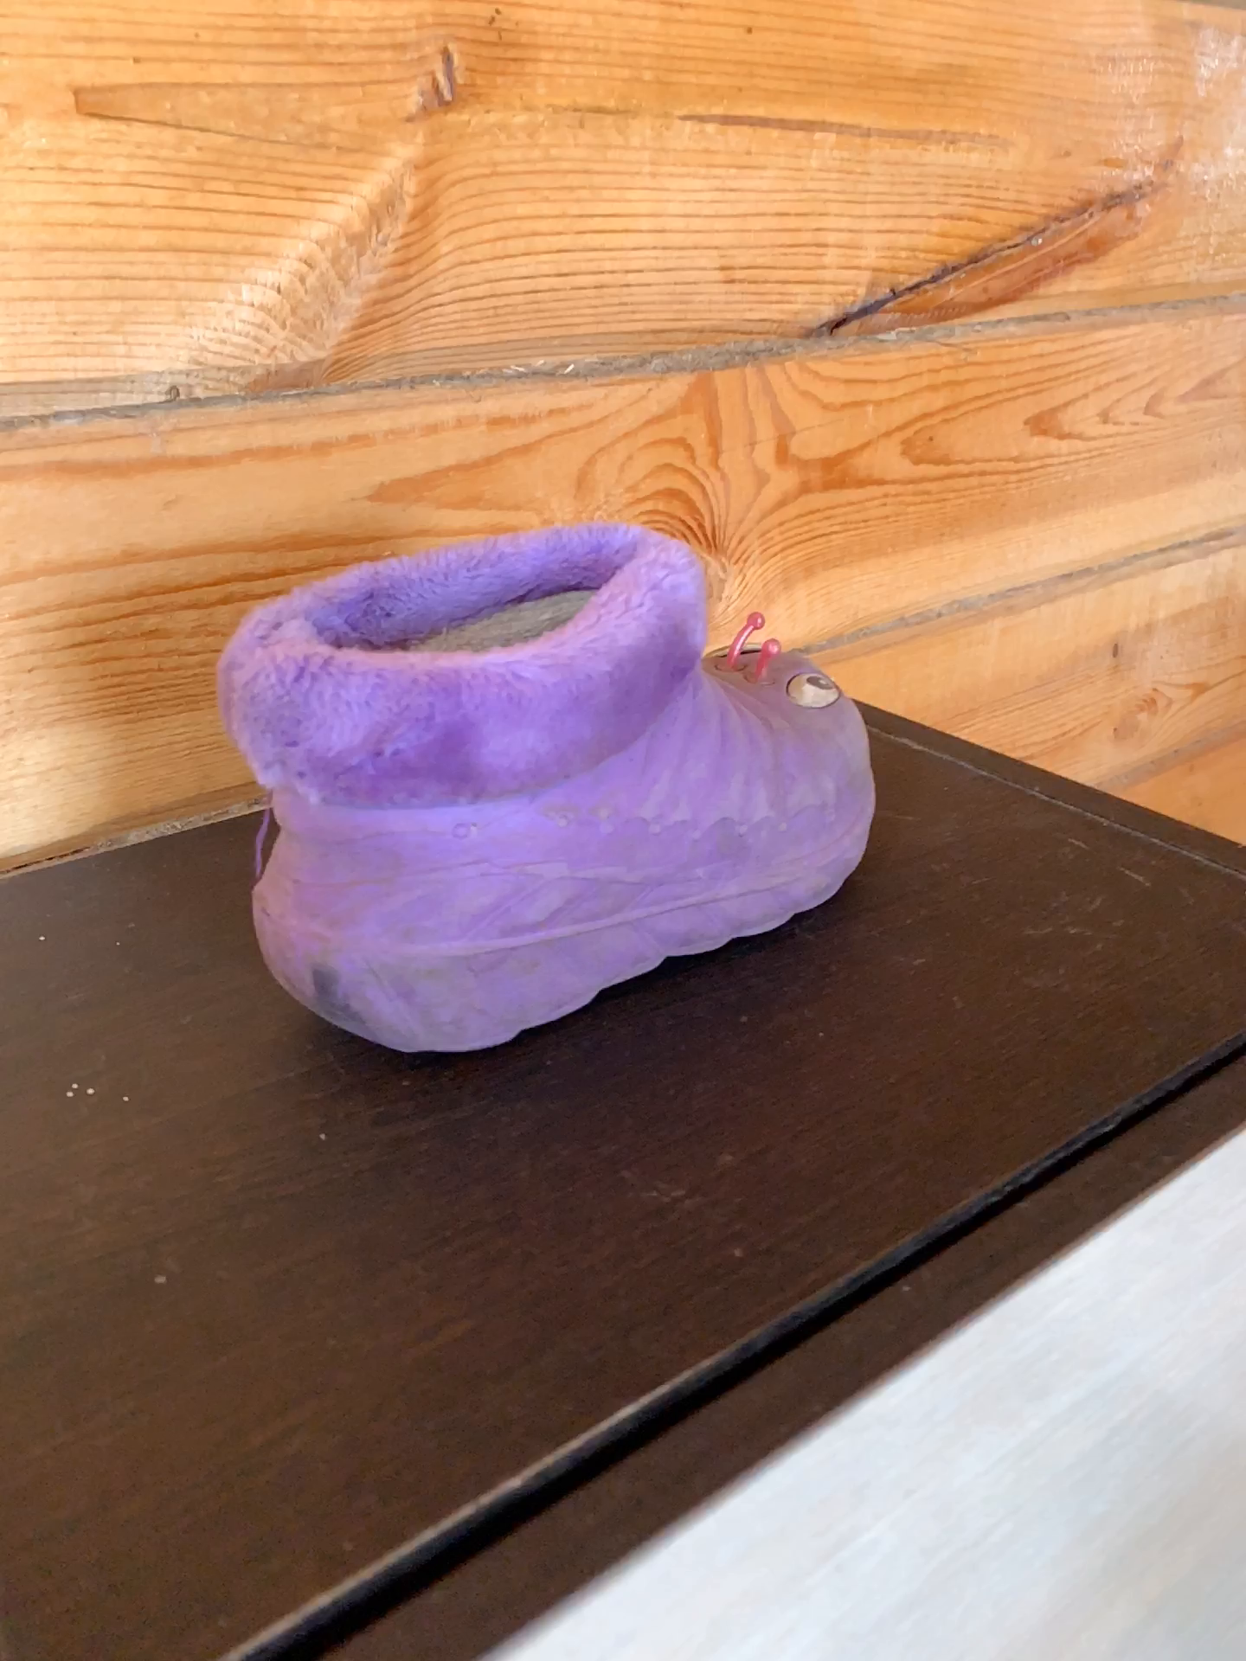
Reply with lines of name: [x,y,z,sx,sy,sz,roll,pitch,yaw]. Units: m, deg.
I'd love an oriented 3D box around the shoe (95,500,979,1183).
shoe: [-0.011,-0.016,0.331,0.201,0.099,0.090,-20,30,-35]
